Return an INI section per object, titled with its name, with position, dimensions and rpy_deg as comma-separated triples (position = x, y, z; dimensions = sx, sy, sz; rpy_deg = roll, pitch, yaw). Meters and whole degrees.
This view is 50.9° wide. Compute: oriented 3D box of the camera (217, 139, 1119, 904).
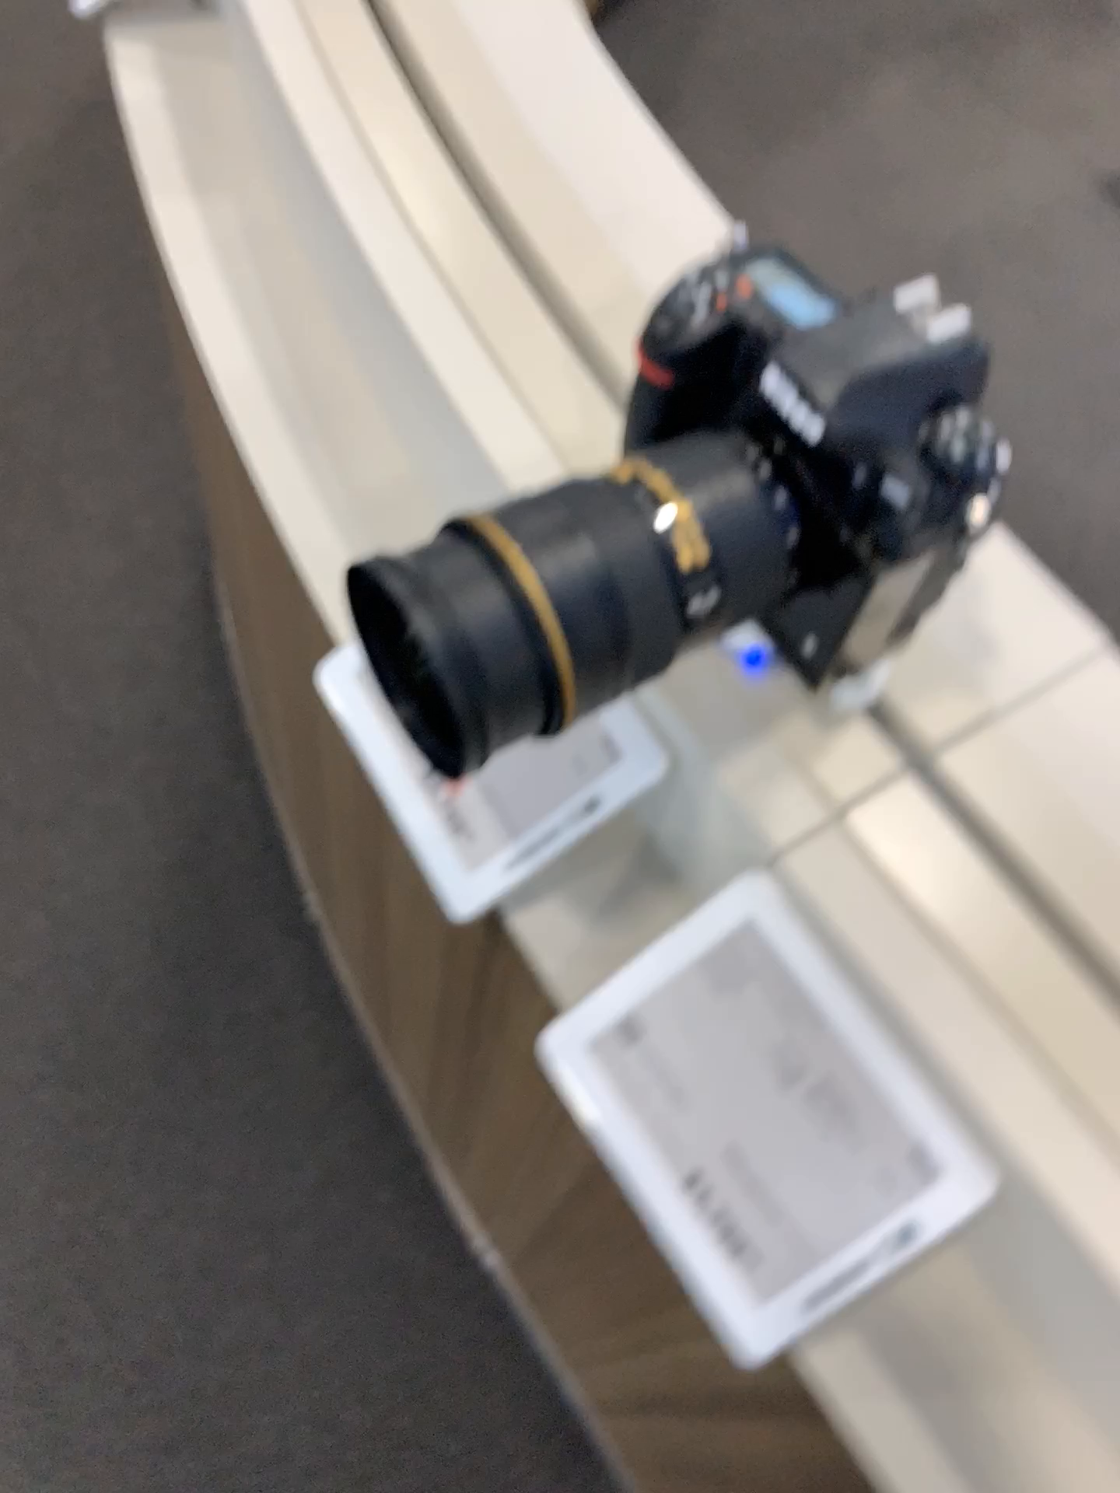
[camera]
position = 0.034, -0.087, 0.411
dimensions = 0.240, 0.110, 0.160
rpy_deg = -27, 67, -21
